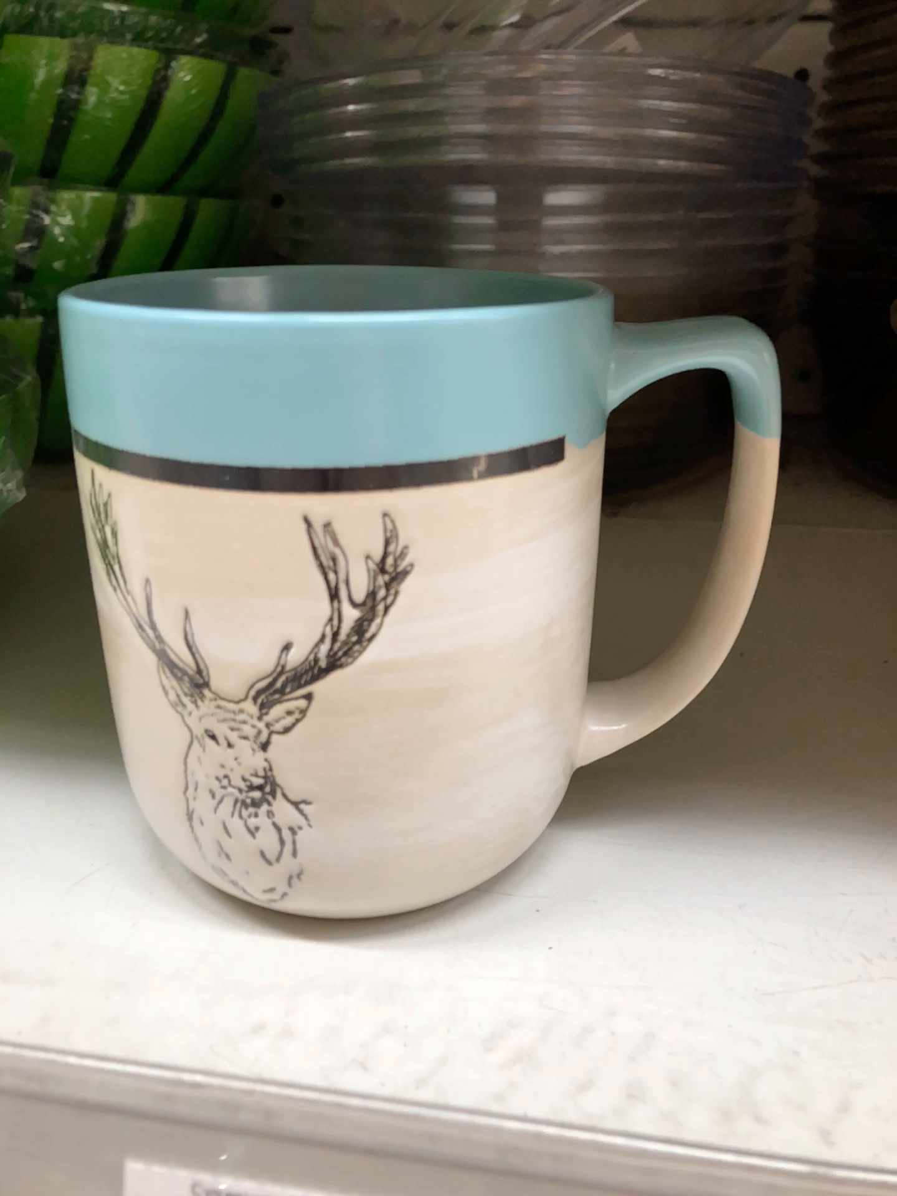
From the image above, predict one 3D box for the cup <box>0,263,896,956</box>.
[{"bbox_3d":[-0.001,-0.007,0.190,0.123,0.103,0.094,0,21,0],"label":"cup"}]
